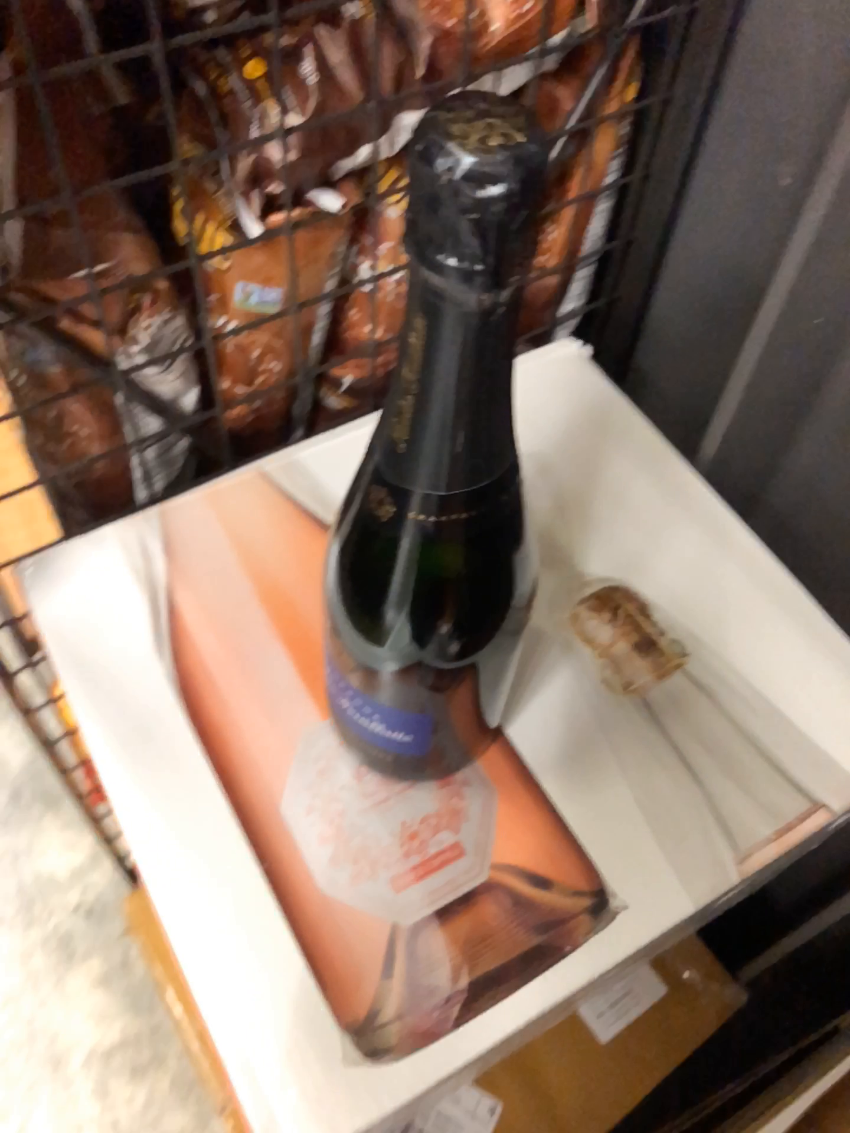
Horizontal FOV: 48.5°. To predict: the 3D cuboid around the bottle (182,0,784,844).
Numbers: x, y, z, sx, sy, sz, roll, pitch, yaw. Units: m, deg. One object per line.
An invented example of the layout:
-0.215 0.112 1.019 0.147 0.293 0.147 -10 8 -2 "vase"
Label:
0.002 -0.019 0.331 0.090 0.299 0.100 -33 64 -24 "bottle"
